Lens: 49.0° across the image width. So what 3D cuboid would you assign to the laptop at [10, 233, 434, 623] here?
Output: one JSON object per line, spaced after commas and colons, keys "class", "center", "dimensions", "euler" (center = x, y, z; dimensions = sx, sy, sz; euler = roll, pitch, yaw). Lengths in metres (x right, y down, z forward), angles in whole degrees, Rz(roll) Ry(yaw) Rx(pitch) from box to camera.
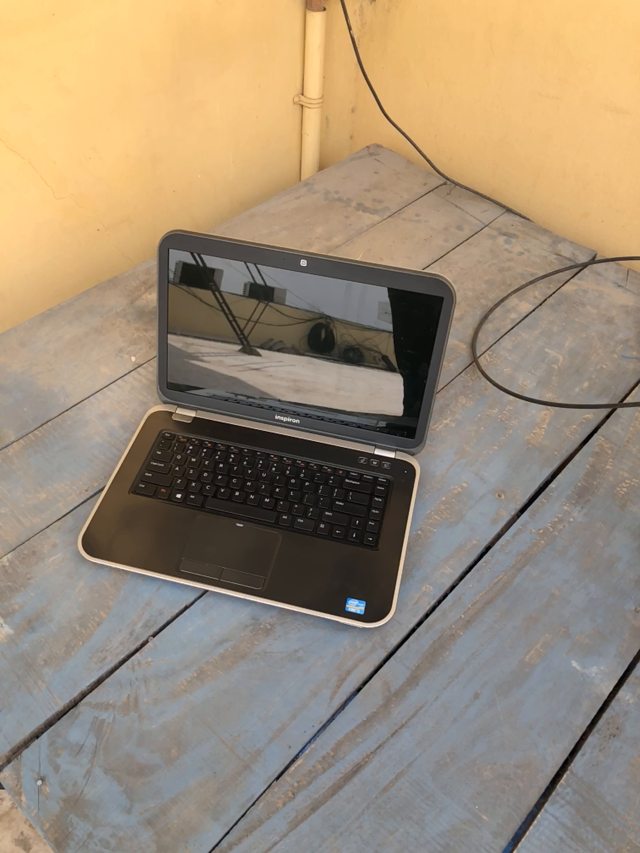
{"class": "laptop", "center": [-0.081, -0.015, 0.810], "dimensions": [0.352, 0.209, 0.334], "euler": [11, 49, 9]}
